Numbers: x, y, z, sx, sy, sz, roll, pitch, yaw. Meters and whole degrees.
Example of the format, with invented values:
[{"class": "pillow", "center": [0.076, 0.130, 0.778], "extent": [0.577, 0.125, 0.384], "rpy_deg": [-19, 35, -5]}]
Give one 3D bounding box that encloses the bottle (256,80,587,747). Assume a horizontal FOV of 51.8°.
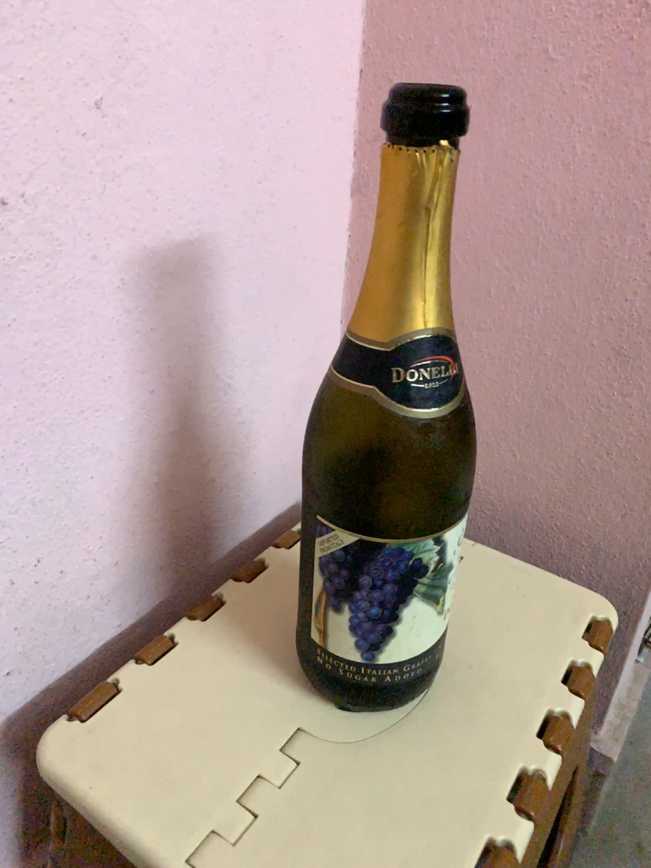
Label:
[{"class": "bottle", "center": [0.024, 0.004, 0.297], "extent": [0.090, 0.279, 0.070], "rpy_deg": [-10, 31, -23]}]
